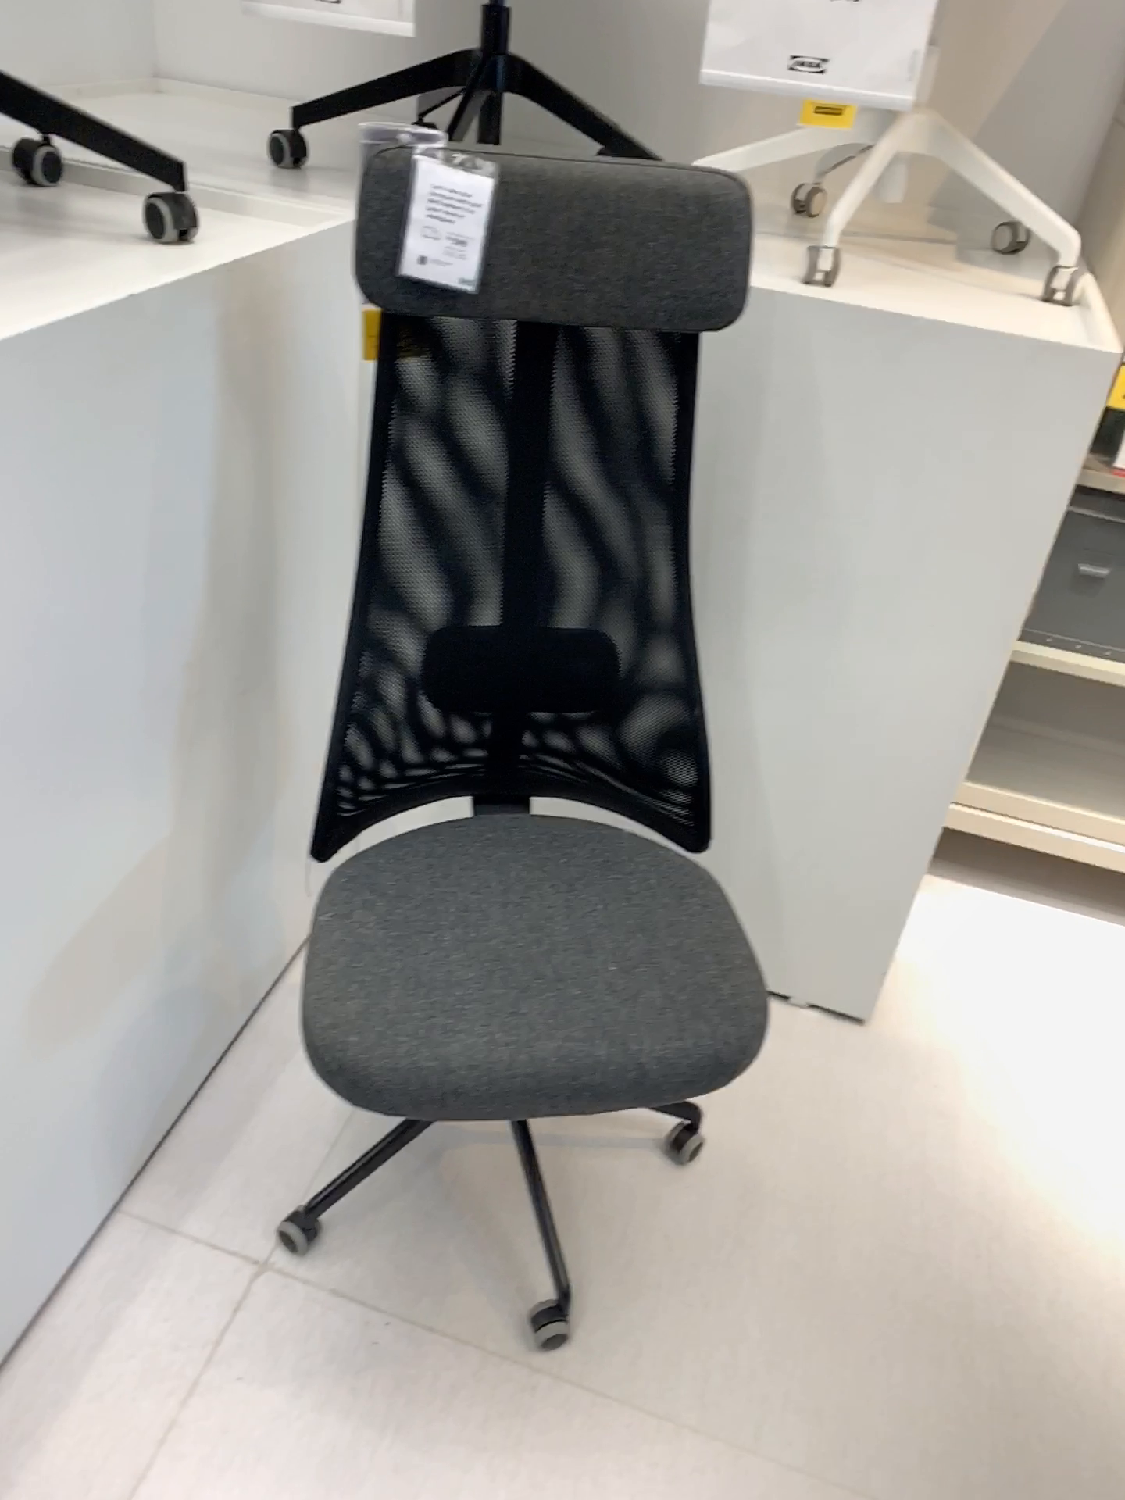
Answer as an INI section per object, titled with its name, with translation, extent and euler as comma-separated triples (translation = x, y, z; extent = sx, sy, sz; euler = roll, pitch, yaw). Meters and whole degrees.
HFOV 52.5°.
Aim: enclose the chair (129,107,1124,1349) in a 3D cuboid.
[chair]
translation = -0.015, 0.035, 1.348
extent = 0.660, 1.264, 0.673
euler = 4, 34, -6
